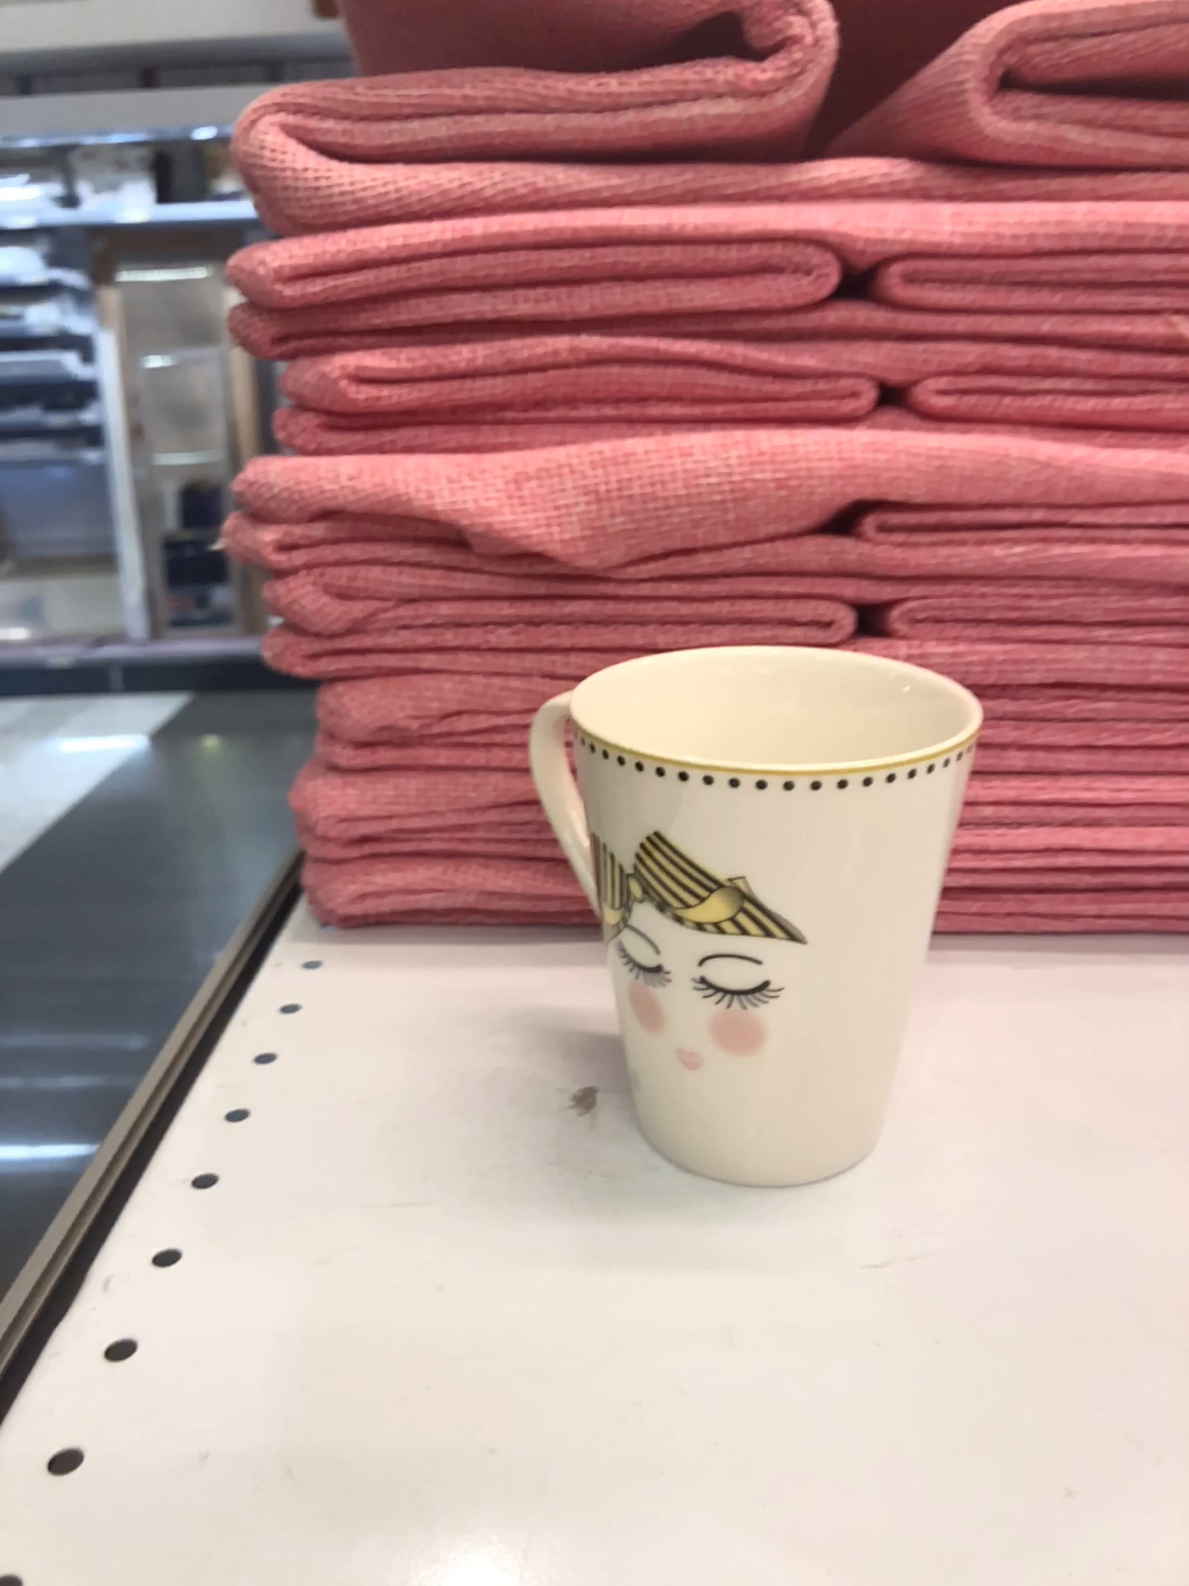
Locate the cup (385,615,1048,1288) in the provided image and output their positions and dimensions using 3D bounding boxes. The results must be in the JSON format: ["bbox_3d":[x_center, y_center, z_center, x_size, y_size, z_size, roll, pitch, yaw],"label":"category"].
[{"bbox_3d":[0.029,0.023,0.300,0.110,0.099,0.090,12,25,35],"label":"cup"}]
